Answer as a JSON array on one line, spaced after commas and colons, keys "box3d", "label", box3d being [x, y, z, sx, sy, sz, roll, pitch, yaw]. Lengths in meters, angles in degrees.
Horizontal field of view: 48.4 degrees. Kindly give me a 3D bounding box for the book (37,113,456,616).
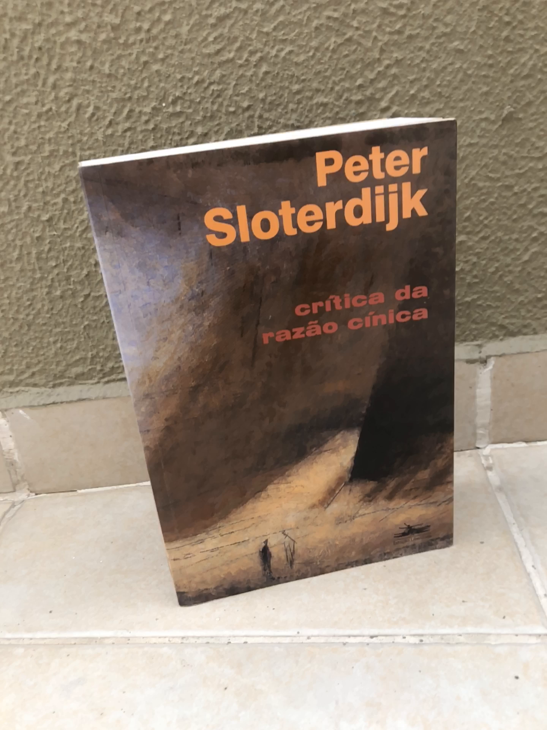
[{"box3d": [0.000, 0.002, 0.306, 0.165, 0.220, 0.058, -11, 23, -7], "label": "book"}]
